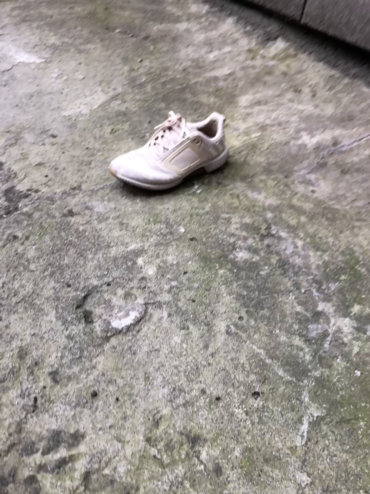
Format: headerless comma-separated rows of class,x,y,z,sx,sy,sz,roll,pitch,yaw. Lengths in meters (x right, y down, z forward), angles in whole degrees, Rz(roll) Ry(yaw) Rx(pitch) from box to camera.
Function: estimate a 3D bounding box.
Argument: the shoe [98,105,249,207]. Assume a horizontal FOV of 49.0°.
shoe,-0.022,-0.206,0.879,0.301,0.109,0.120,-23,50,-30
